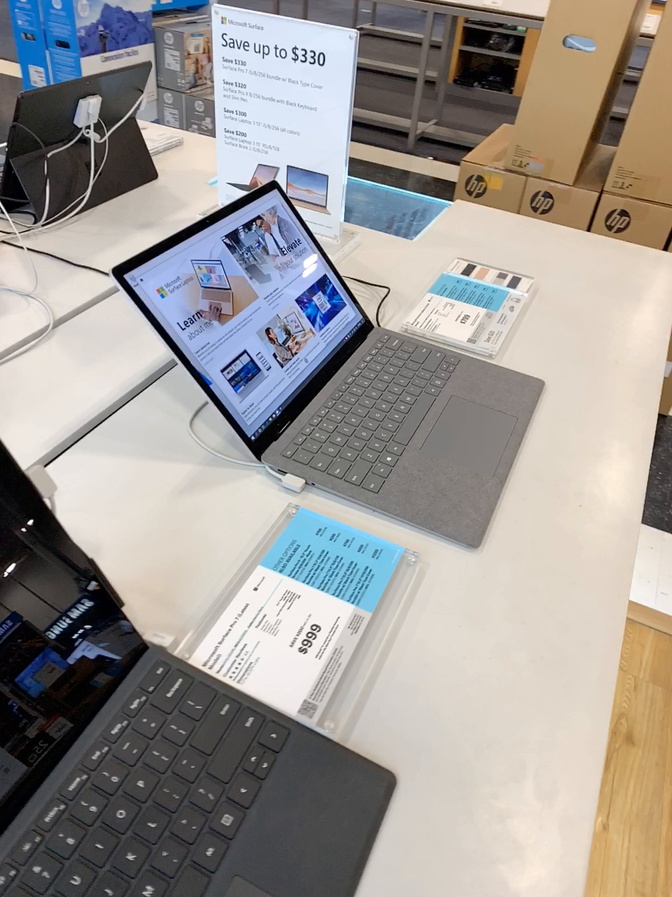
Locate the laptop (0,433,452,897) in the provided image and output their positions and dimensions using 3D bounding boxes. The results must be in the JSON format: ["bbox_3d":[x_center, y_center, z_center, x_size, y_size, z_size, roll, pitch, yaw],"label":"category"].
[{"bbox_3d":[-0.142,0.176,0.311,0.290,0.158,0.290,19,40,13],"label":"laptop"}]

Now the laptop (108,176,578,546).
[{"bbox_3d":[0.021,-0.120,0.712,0.374,0.148,0.297,21,41,14],"label":"laptop"}]
